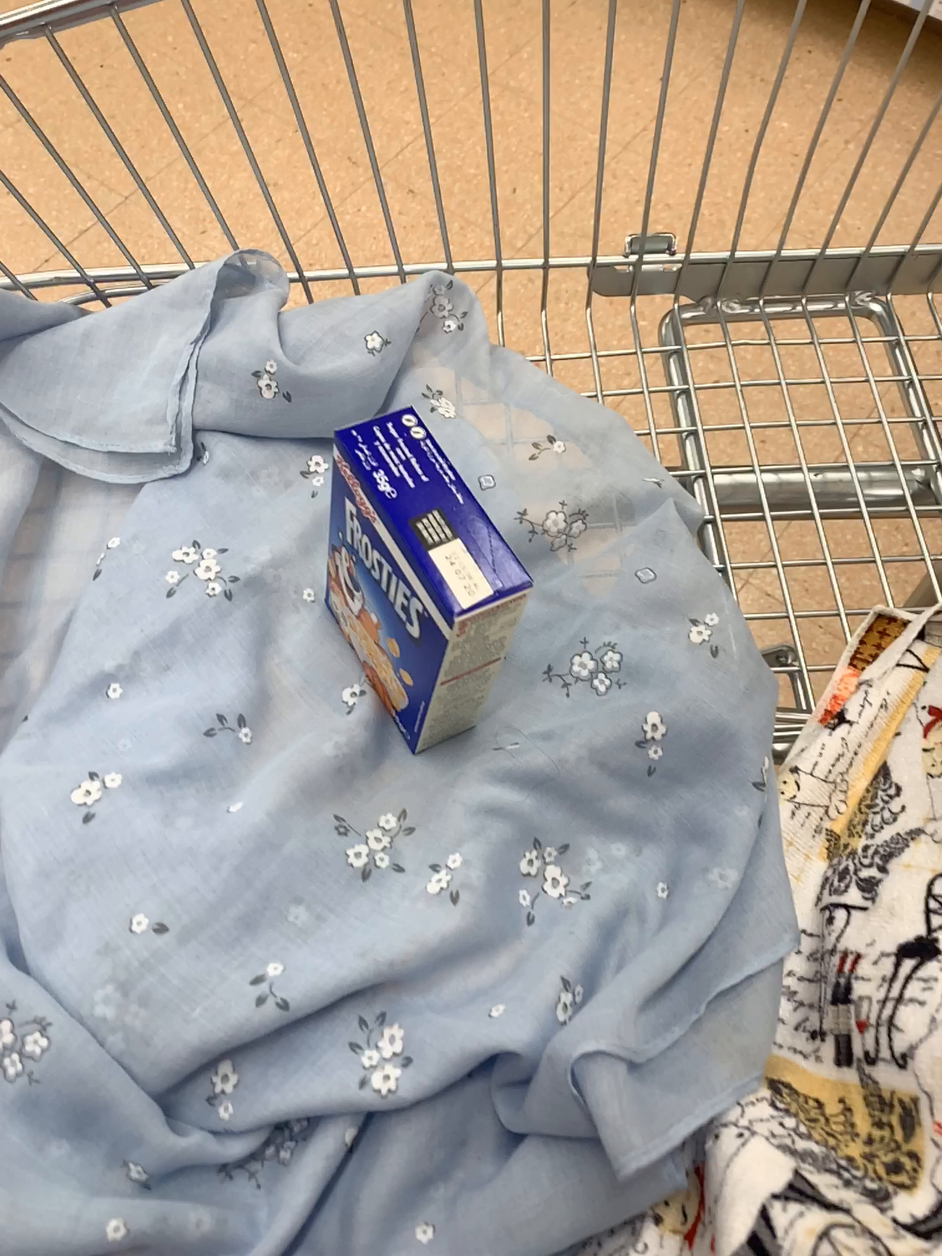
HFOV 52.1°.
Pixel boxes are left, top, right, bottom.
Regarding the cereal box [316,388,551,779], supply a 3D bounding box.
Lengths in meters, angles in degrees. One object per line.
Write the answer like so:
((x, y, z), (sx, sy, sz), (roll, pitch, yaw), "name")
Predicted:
((-0.023, -0.012, 0.396), (0.040, 0.129, 0.100), (-23, 66, -20), "cereal box")
